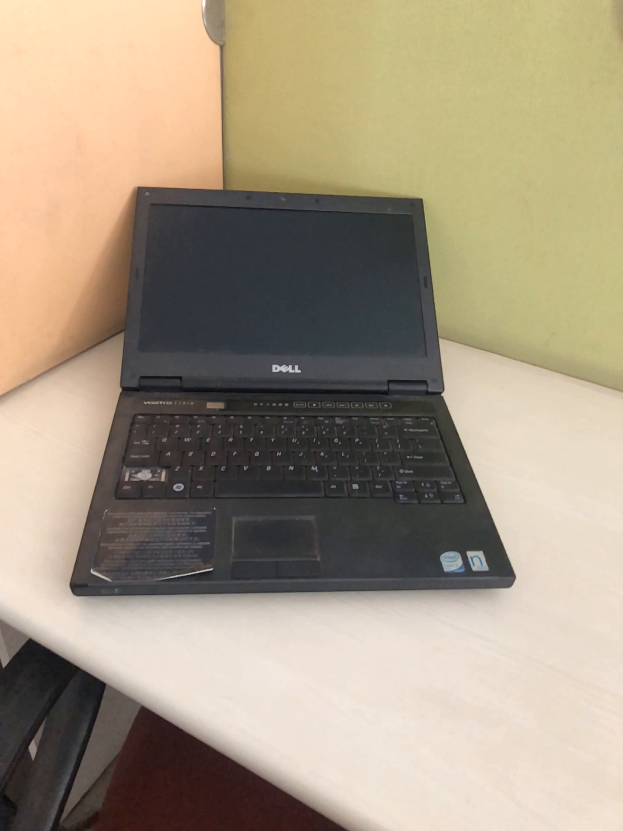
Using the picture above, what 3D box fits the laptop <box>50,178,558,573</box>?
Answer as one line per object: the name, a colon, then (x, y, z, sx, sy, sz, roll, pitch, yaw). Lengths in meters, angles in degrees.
laptop: (-0.019, -0.075, 0.617, 0.305, 0.125, 0.433, 0, 36, -6)
